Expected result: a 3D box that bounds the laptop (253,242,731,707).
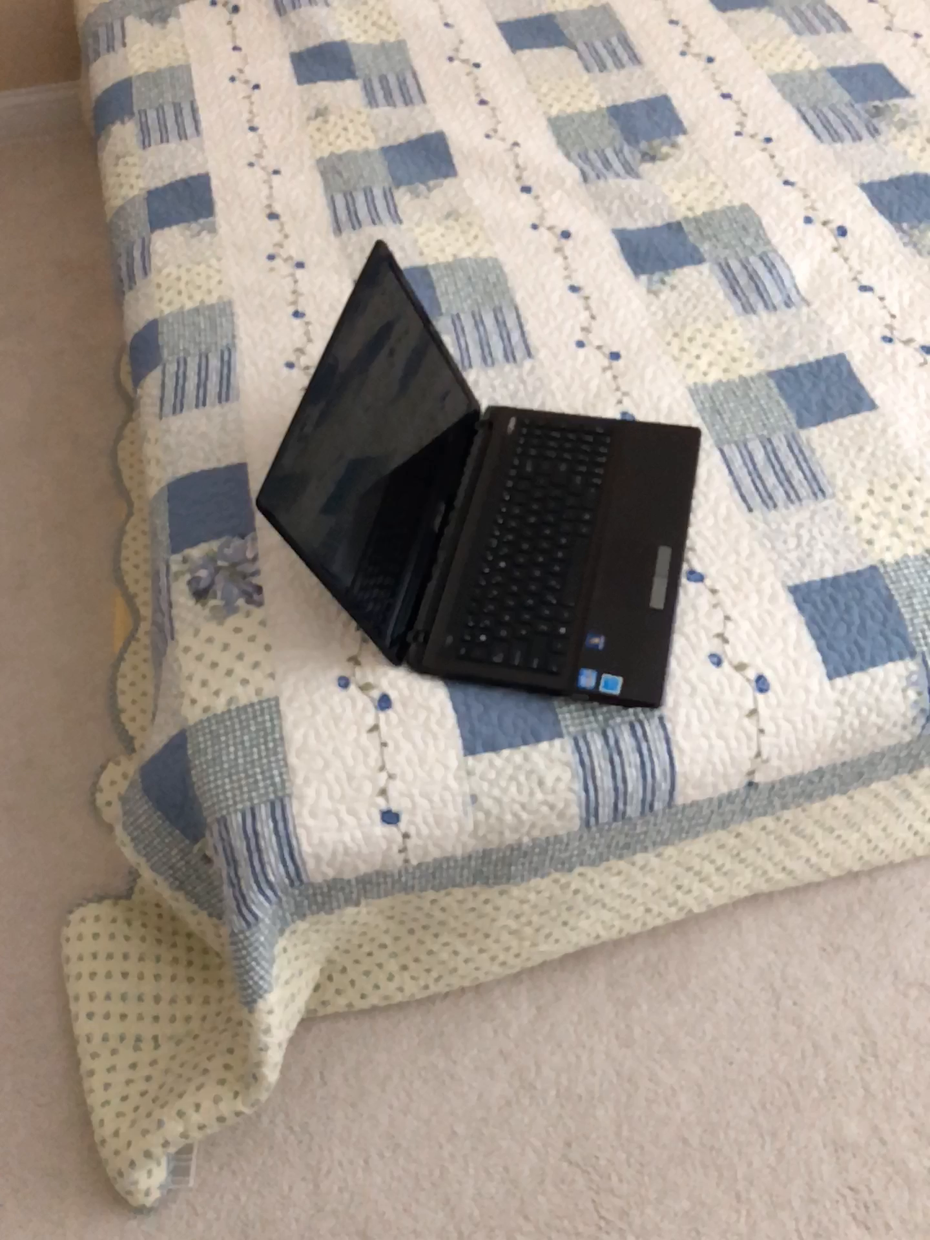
[{"bbox_3d":[0.044,-0.150,0.981,0.350,0.193,0.359,10,55,9],"label":"laptop"}]
